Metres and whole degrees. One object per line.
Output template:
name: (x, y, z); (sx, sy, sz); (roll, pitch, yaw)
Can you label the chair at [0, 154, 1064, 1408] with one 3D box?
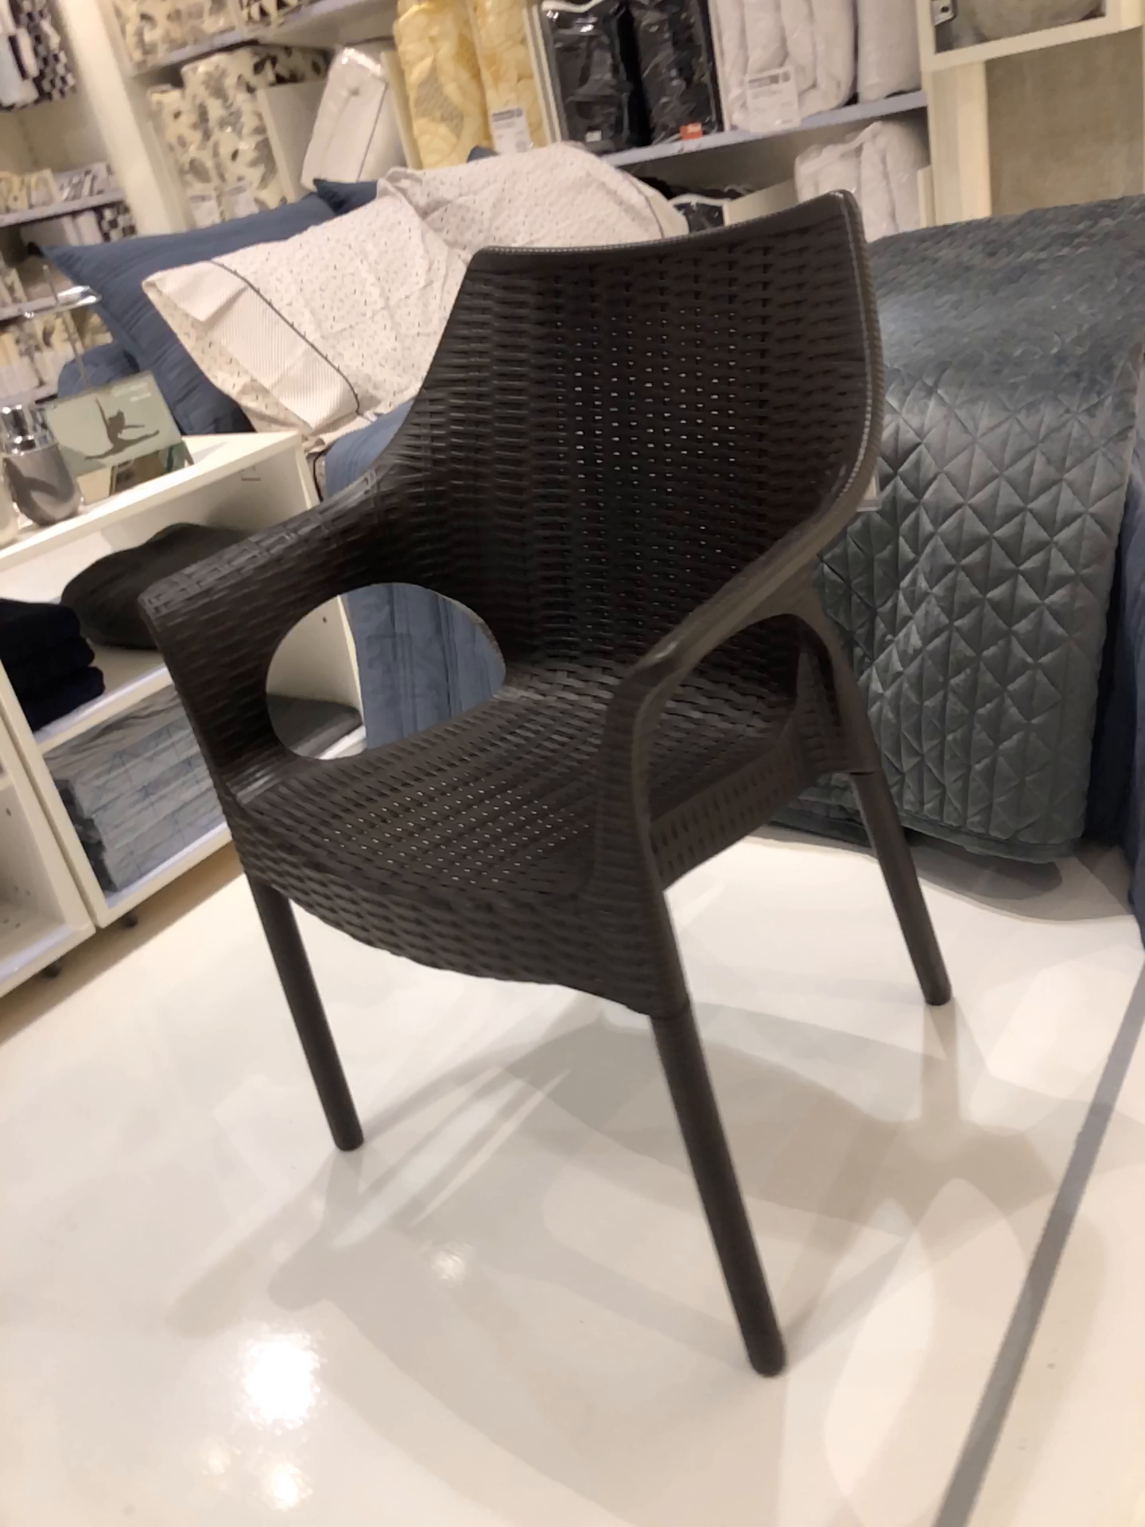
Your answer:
chair: (0.024, -0.039, 1.127); (0.592, 0.765, 0.573); (11, 35, 40)
